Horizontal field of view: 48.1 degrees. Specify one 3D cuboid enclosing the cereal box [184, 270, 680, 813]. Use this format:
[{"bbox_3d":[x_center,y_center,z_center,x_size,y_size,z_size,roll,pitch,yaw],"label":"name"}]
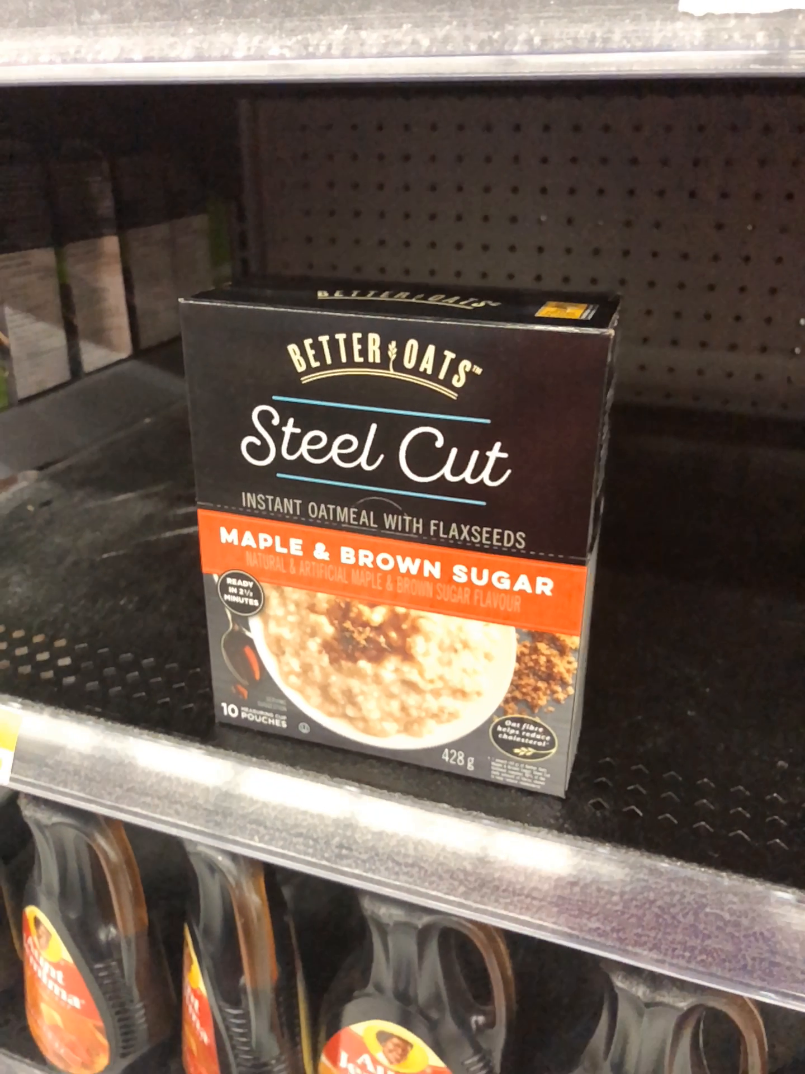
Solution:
[{"bbox_3d":[0.012,-0.003,0.353,0.160,0.179,0.070,8,26,16],"label":"cereal box"}]
